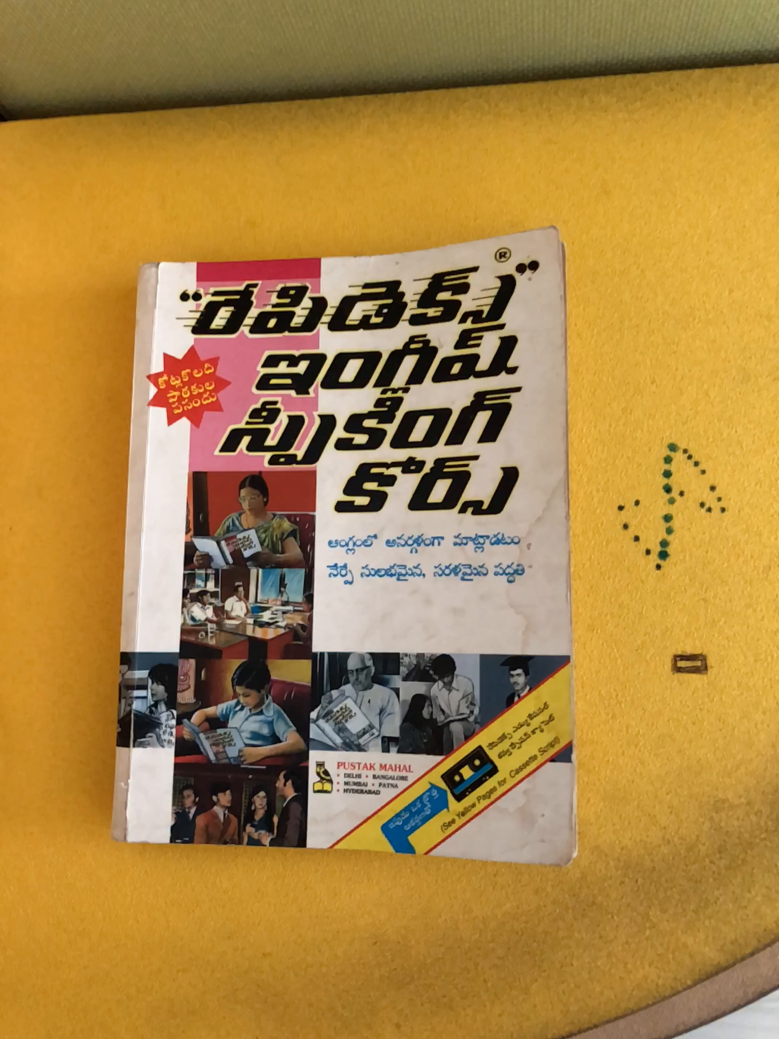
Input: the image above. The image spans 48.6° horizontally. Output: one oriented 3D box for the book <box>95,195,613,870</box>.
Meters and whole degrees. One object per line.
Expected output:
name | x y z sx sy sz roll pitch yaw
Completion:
book | -0.015 0.001 0.345 0.190 0.030 0.250 -1 81 8
